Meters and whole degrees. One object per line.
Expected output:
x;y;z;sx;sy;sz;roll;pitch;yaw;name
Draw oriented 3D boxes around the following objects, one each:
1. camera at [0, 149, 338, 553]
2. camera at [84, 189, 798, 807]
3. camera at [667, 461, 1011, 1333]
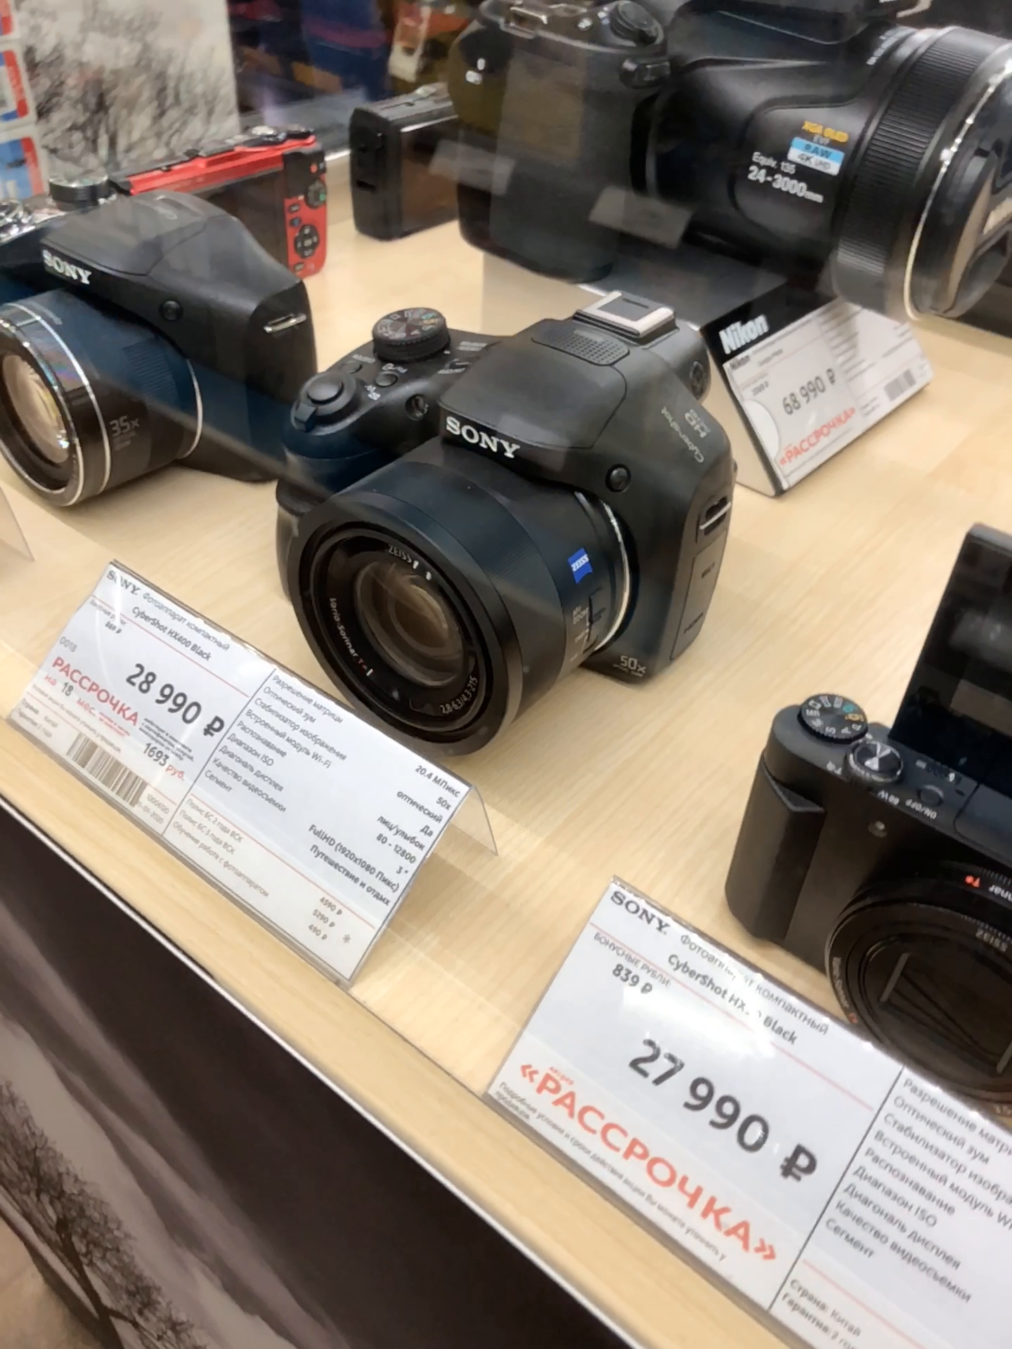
-0.136;-0.115;0.376;0.122;0.073;0.097;29;46;27;camera
-0.017;-0.057;0.298;0.137;0.086;0.104;29;46;27;camera
0.107;0.040;0.220;0.125;0.113;0.056;29;46;27;camera
